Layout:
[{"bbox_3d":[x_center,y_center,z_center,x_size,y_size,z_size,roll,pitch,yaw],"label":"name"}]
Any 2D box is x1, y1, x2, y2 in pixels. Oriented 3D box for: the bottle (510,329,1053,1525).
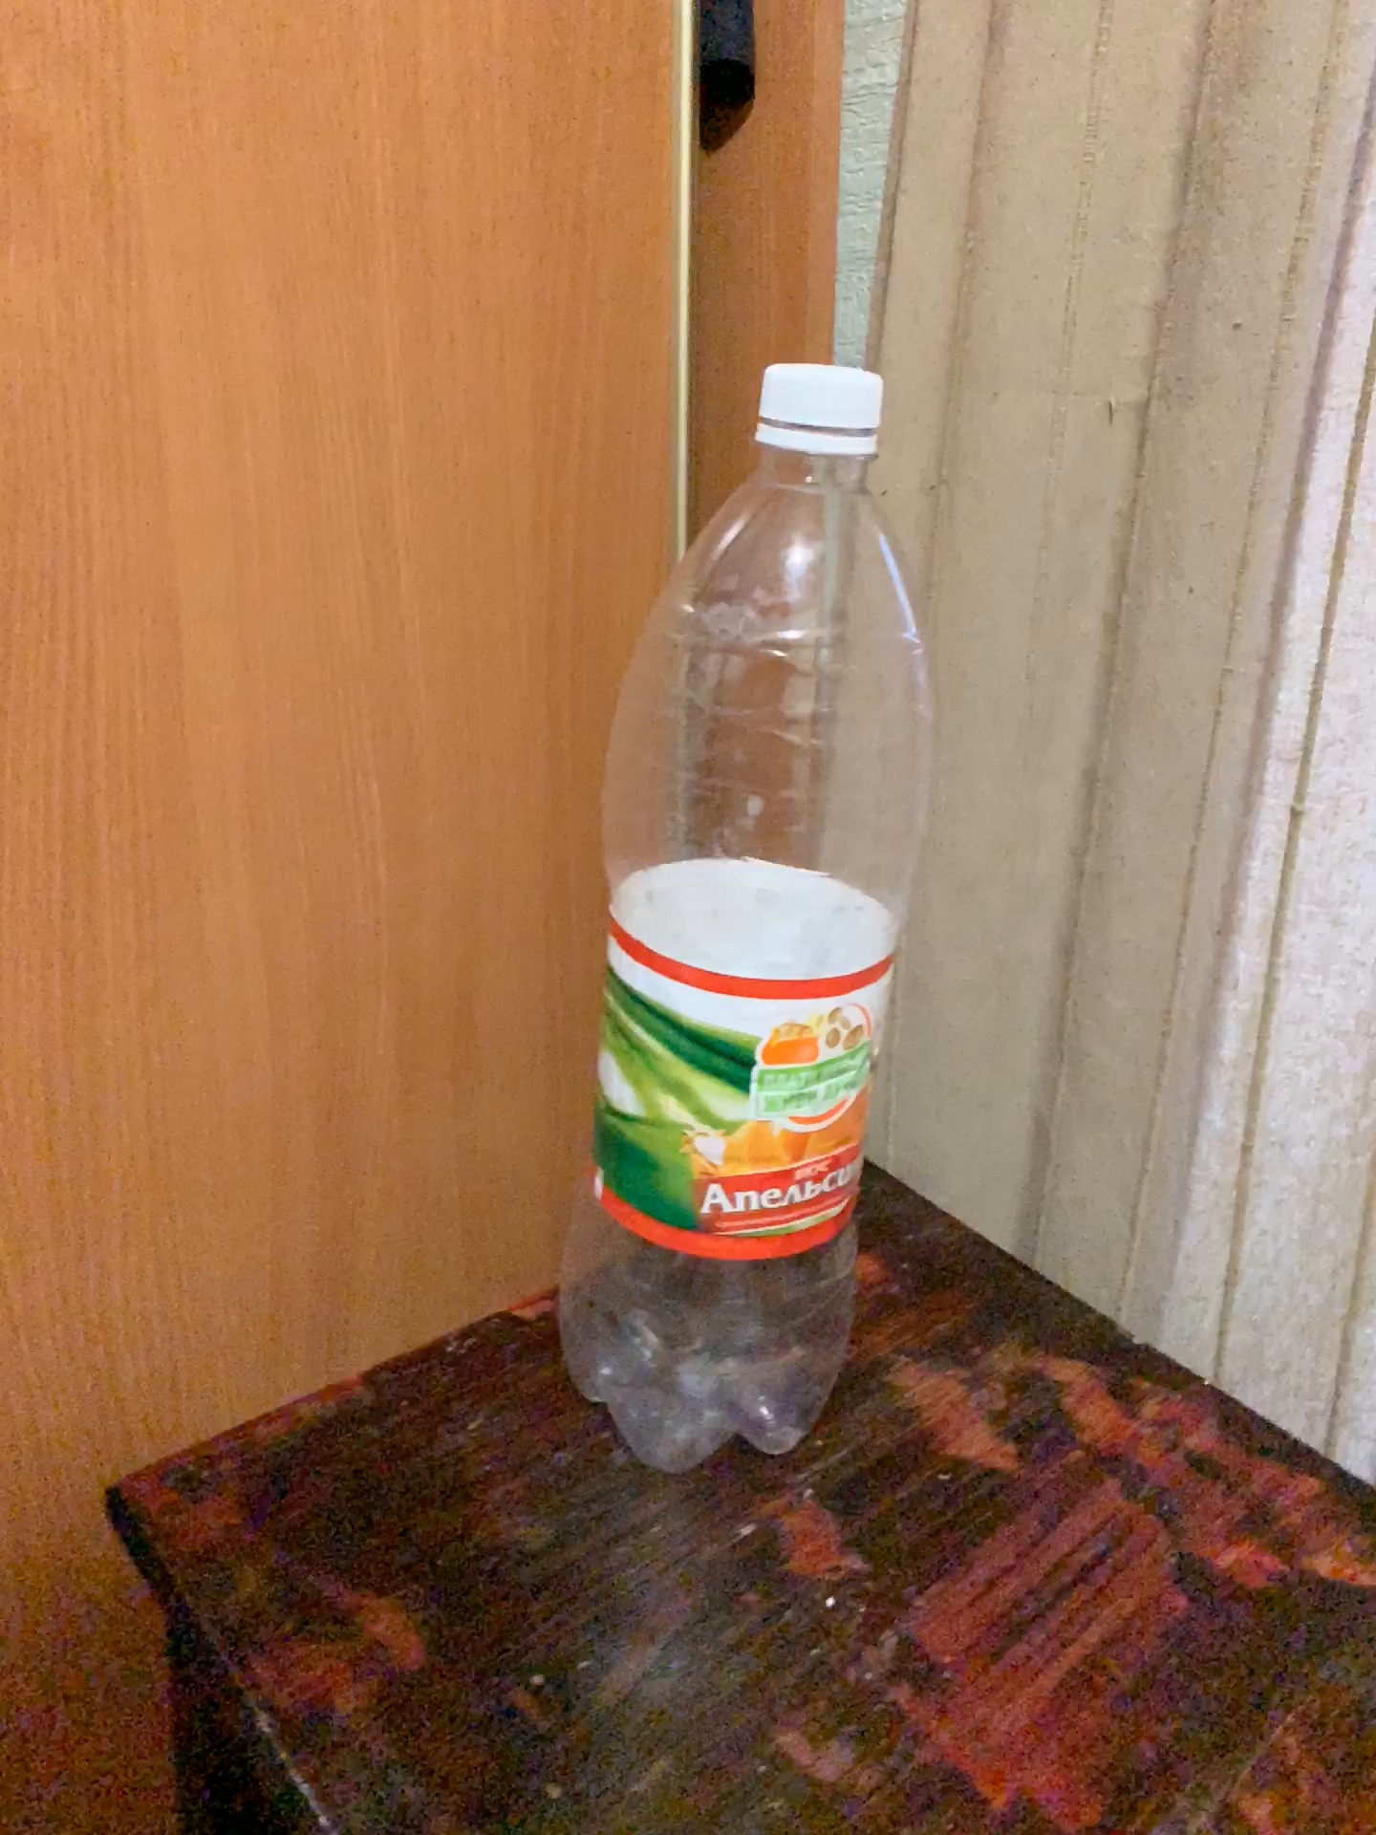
[{"bbox_3d":[0.012,0.003,0.413,0.100,0.318,0.101,2,22,-1],"label":"bottle"}]
